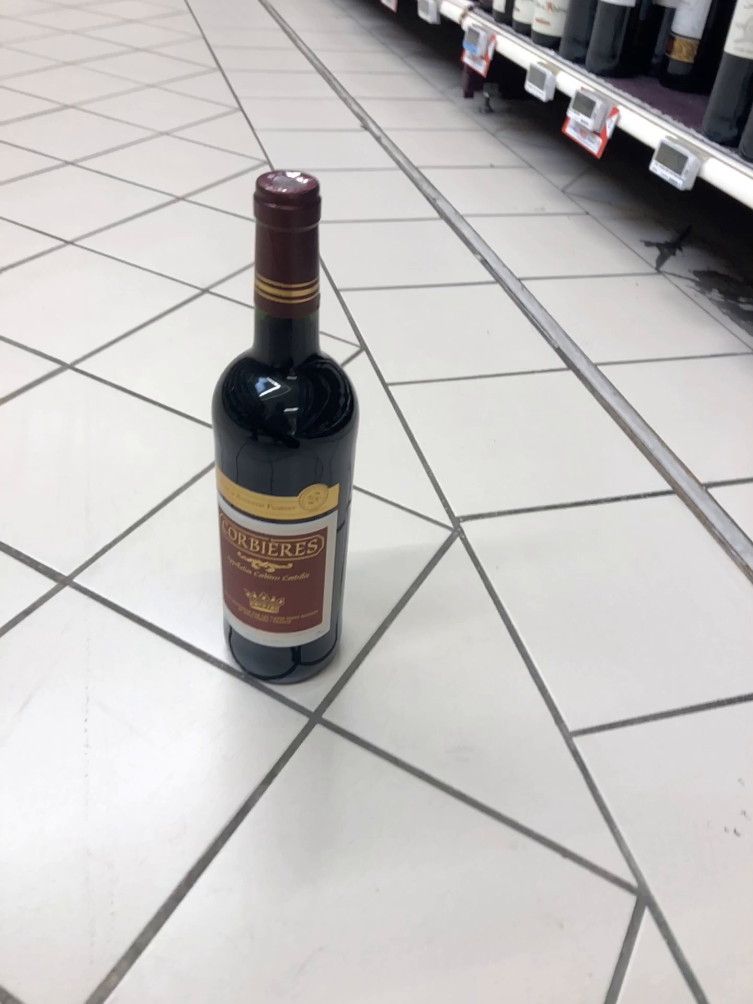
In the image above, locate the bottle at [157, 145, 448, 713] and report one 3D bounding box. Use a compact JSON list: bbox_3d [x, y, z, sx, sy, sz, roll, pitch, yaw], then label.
[{"bbox_3d":[-0.036,-0.023,0.428,0.100,0.268,0.101,4,39,-3],"label":"bottle"}]
